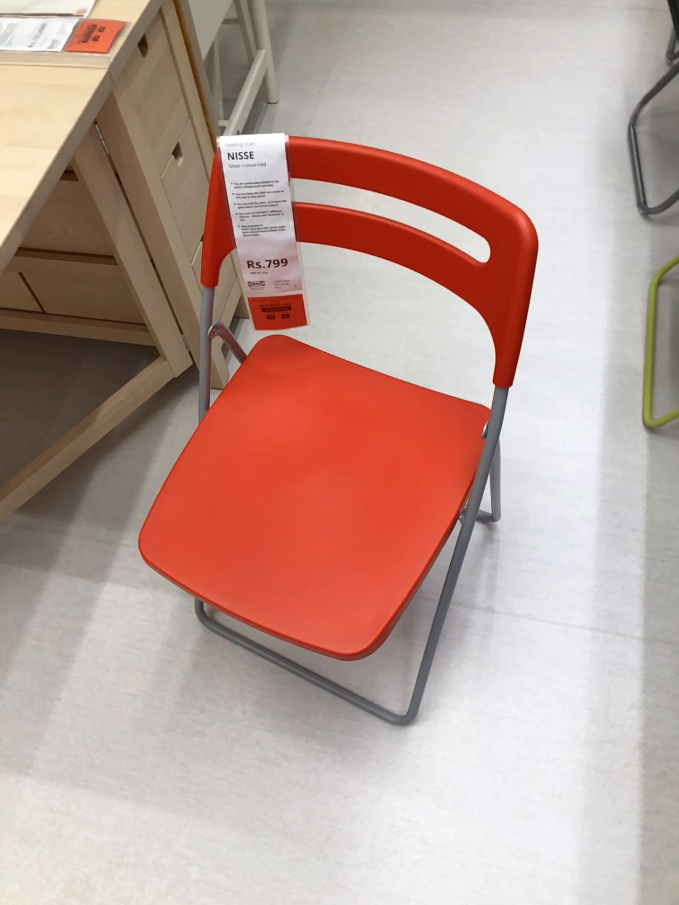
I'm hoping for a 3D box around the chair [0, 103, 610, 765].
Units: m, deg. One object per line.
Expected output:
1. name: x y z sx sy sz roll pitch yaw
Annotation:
1. chair: -0.013 0.013 0.965 0.451 0.607 0.492 21 63 17
